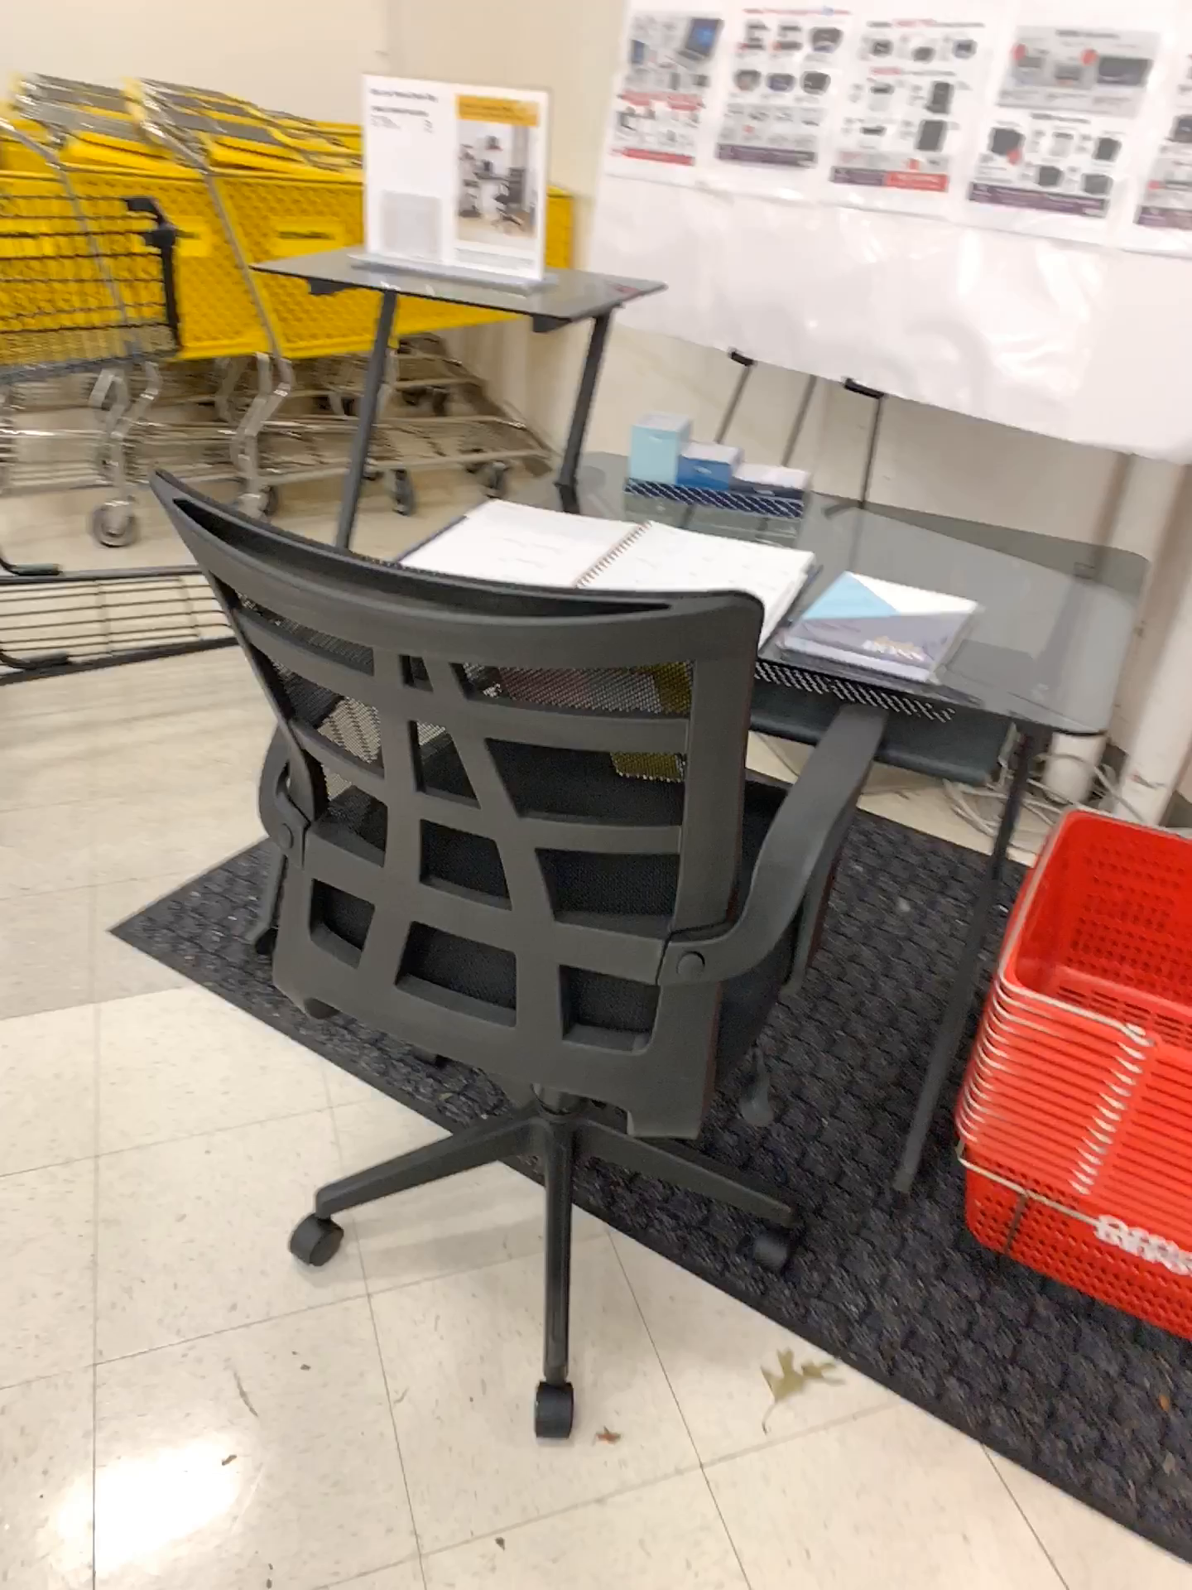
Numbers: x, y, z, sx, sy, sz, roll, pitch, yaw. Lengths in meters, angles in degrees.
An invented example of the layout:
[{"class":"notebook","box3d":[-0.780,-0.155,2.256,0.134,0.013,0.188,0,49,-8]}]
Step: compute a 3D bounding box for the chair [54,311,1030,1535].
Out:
[{"class":"chair","box3d":[0.005,0.076,1.288,0.614,0.942,0.697,14,33,16]}]
